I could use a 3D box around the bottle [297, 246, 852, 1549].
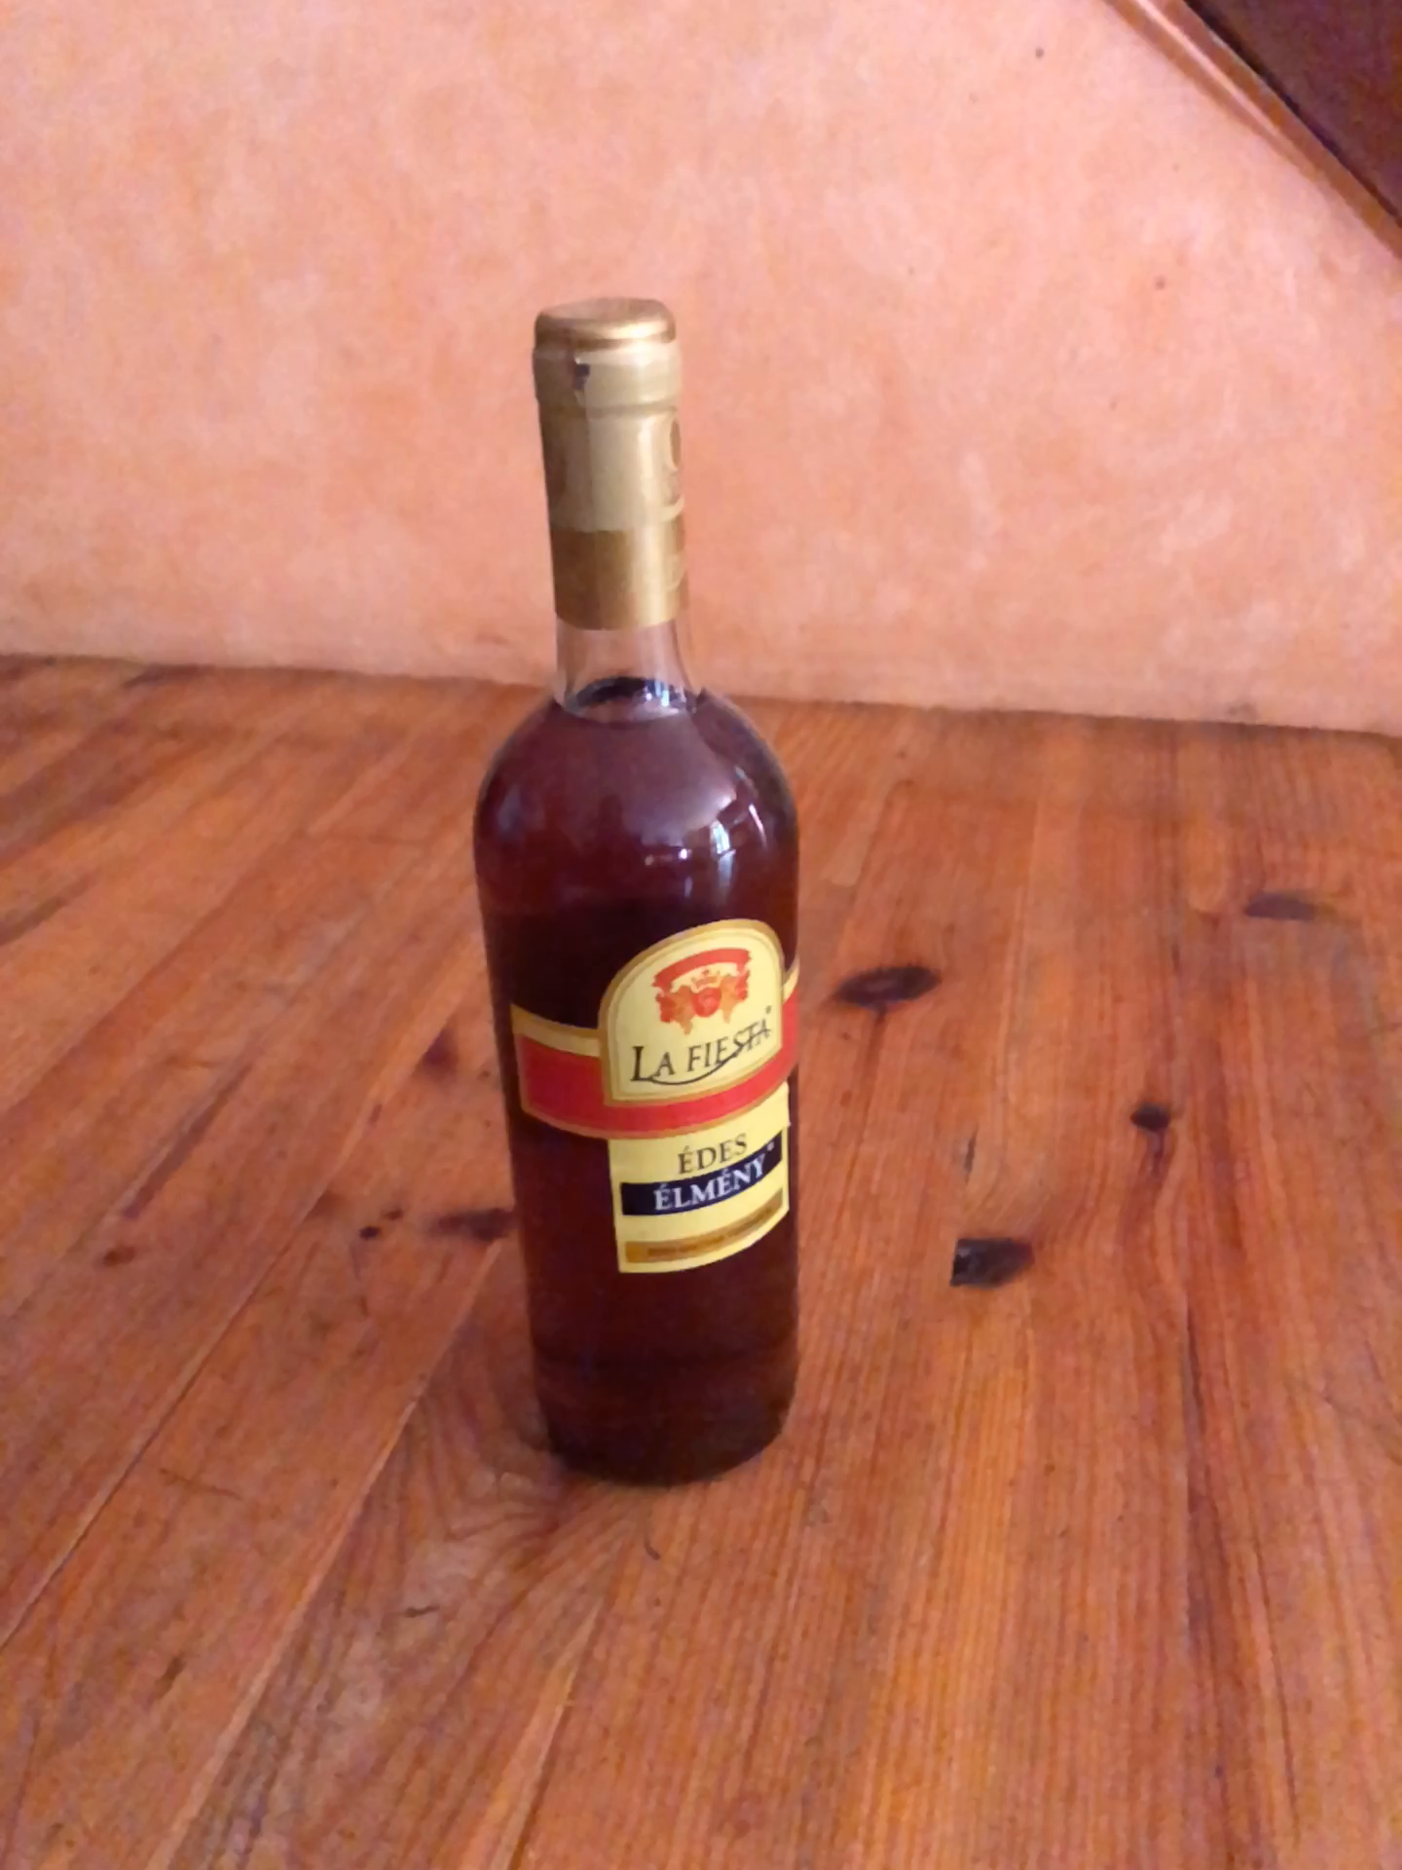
[{"bbox_3d":[-0.020,0.002,0.365,0.080,0.288,0.080,-3,30,1],"label":"bottle"}]
